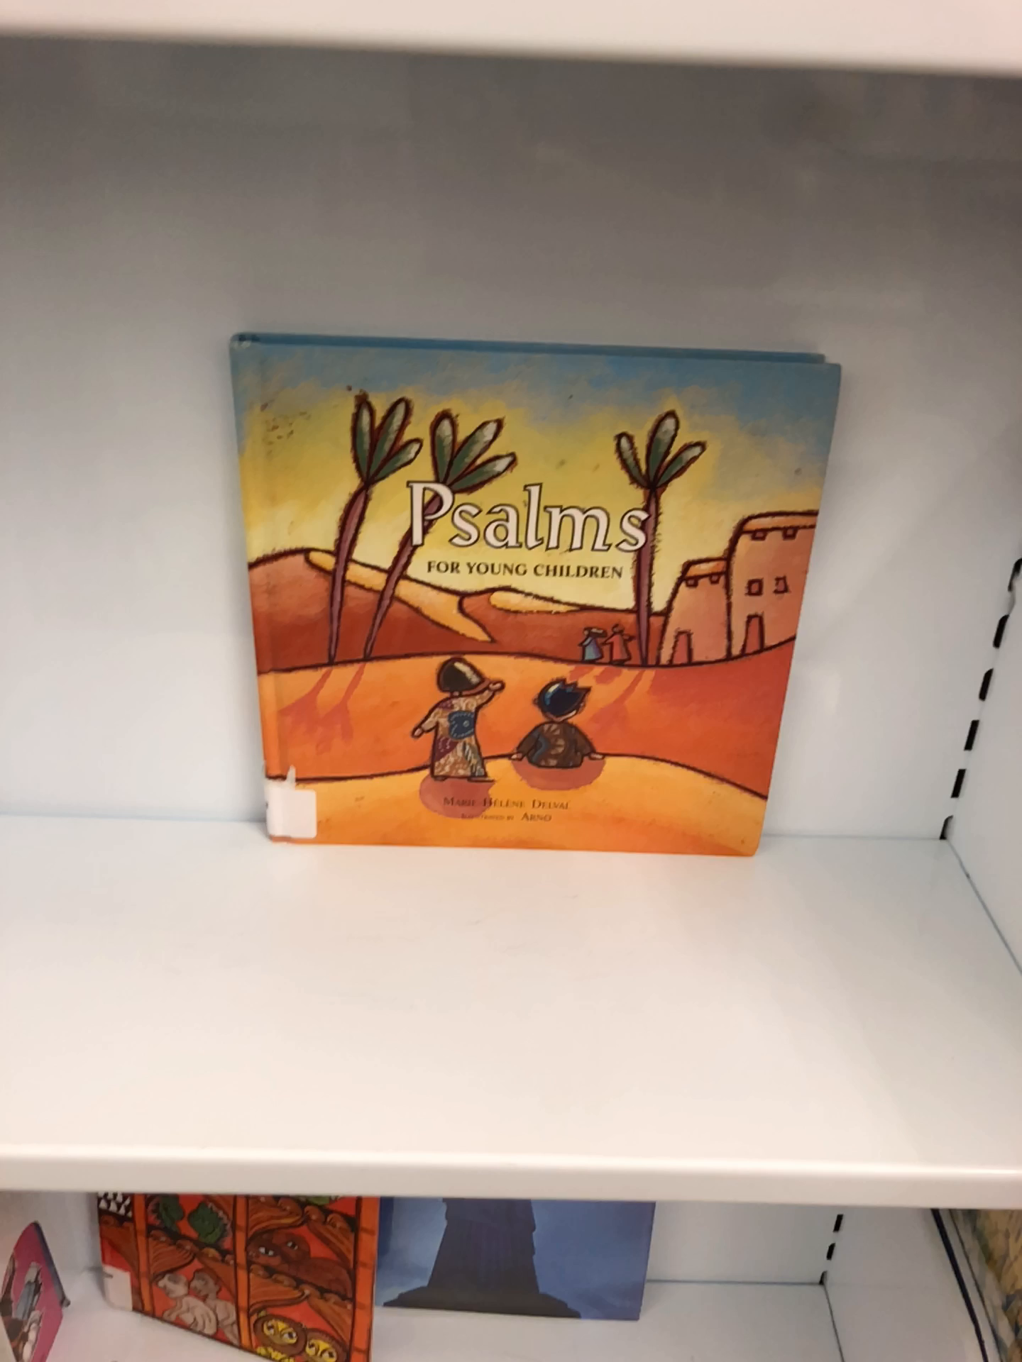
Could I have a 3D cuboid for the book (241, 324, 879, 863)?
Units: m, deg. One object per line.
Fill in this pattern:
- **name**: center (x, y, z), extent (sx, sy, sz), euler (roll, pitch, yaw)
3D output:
- **book**: center (0.012, -0.024, 0.430), extent (0.212, 0.205, 0.021), euler (2, 27, -1)
